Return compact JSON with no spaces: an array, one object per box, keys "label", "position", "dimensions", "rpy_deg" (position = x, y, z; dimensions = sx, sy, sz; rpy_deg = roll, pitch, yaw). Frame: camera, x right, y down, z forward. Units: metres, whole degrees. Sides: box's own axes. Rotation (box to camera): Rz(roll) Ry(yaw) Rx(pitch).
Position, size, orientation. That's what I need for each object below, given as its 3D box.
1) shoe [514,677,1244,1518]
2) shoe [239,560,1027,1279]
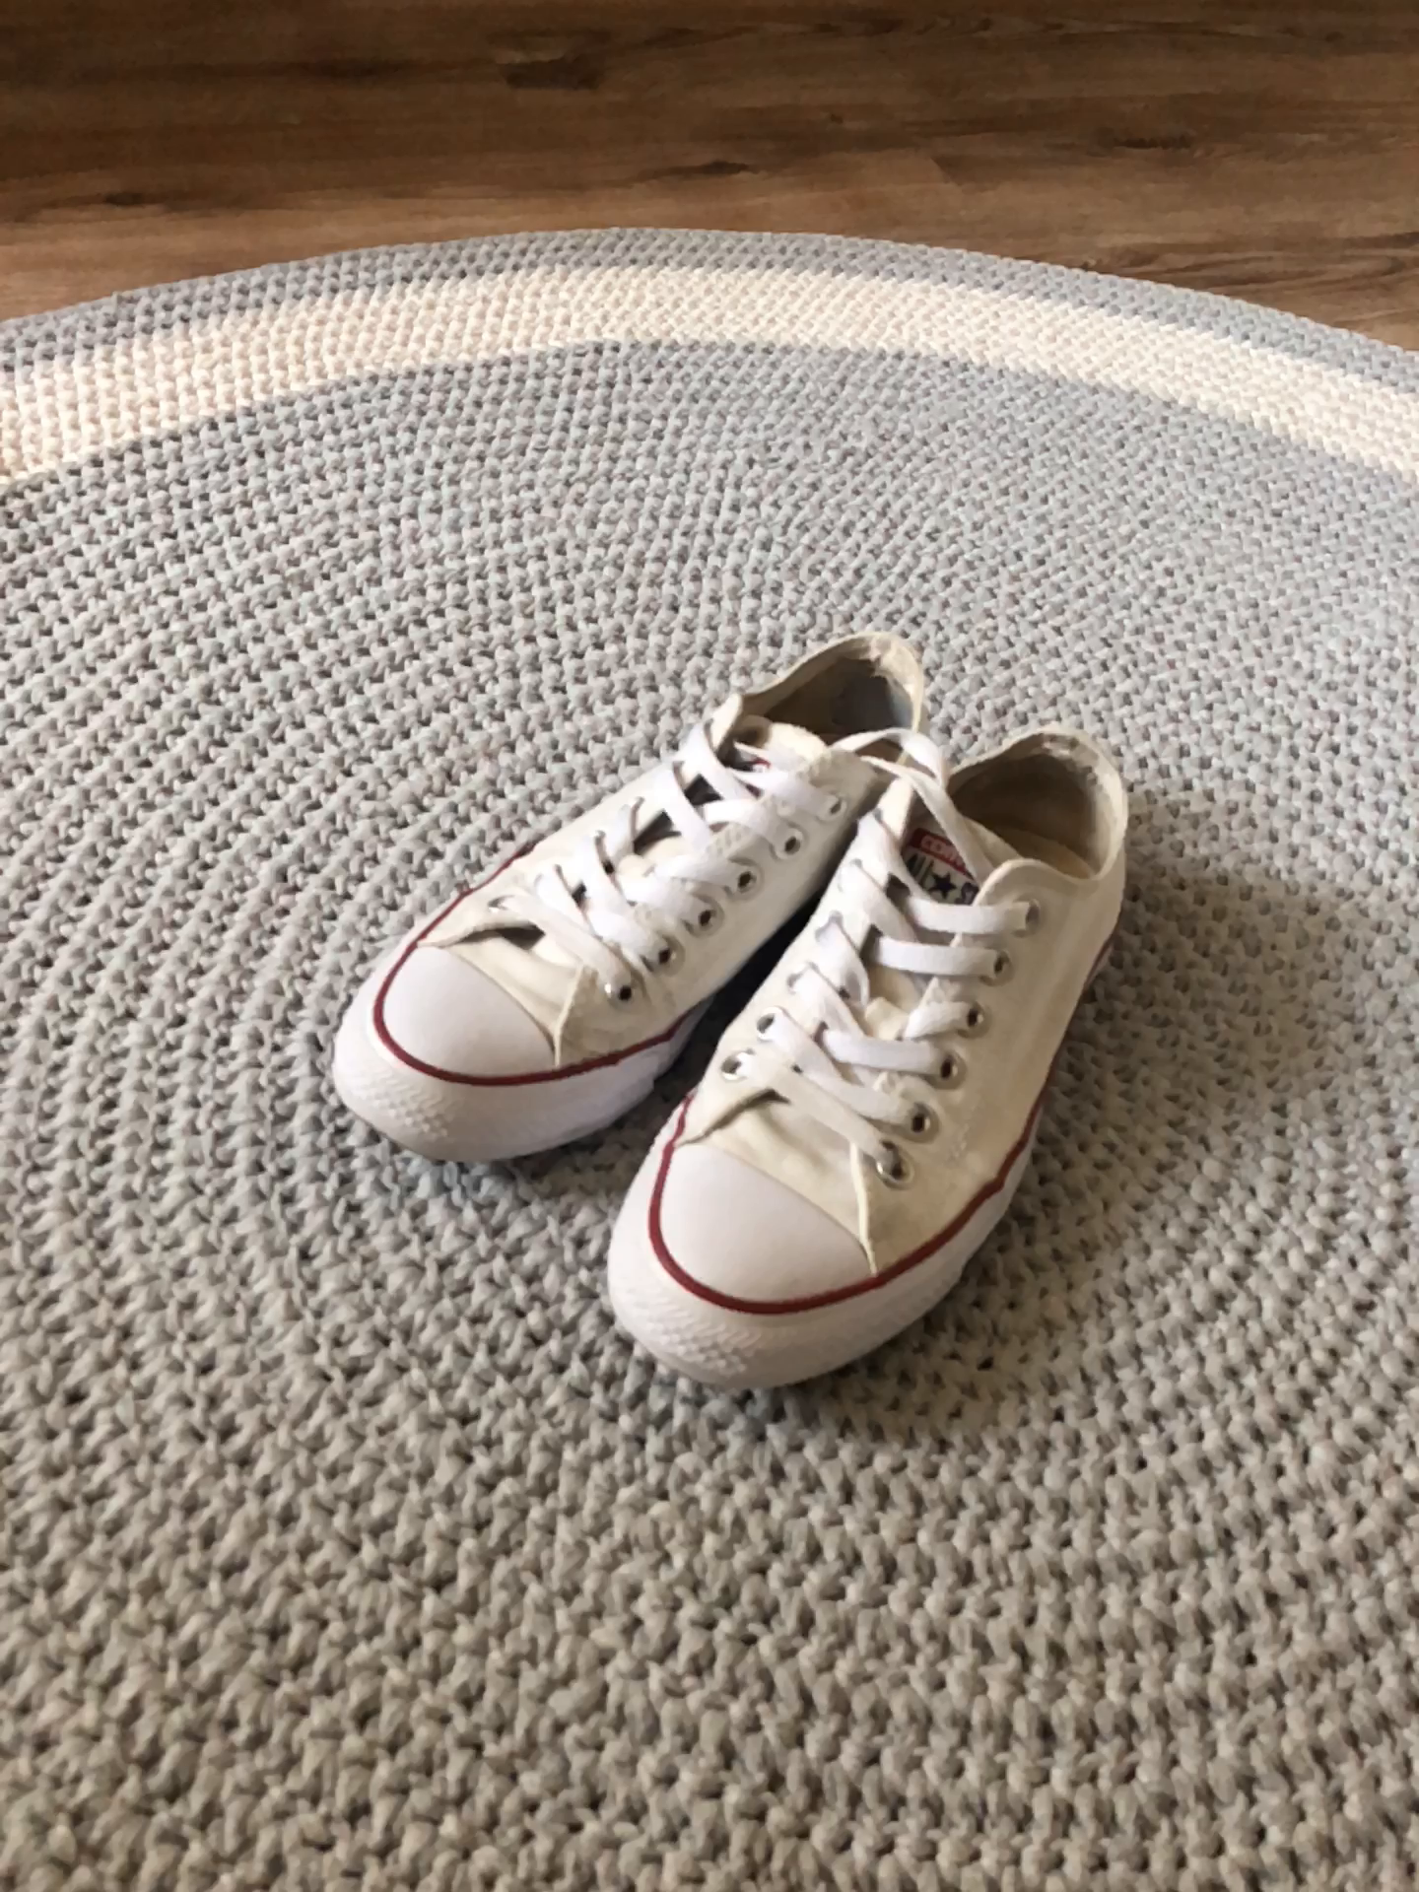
[{"label":"shoe","position":[0.057,0.027,0.455],"dimensions":[0.100,0.070,0.241],"rpy_deg":[28,50,19]},{"label":"shoe","position":[-0.013,-0.023,0.496],"dimensions":[0.100,0.070,0.248],"rpy_deg":[33,52,23]}]
